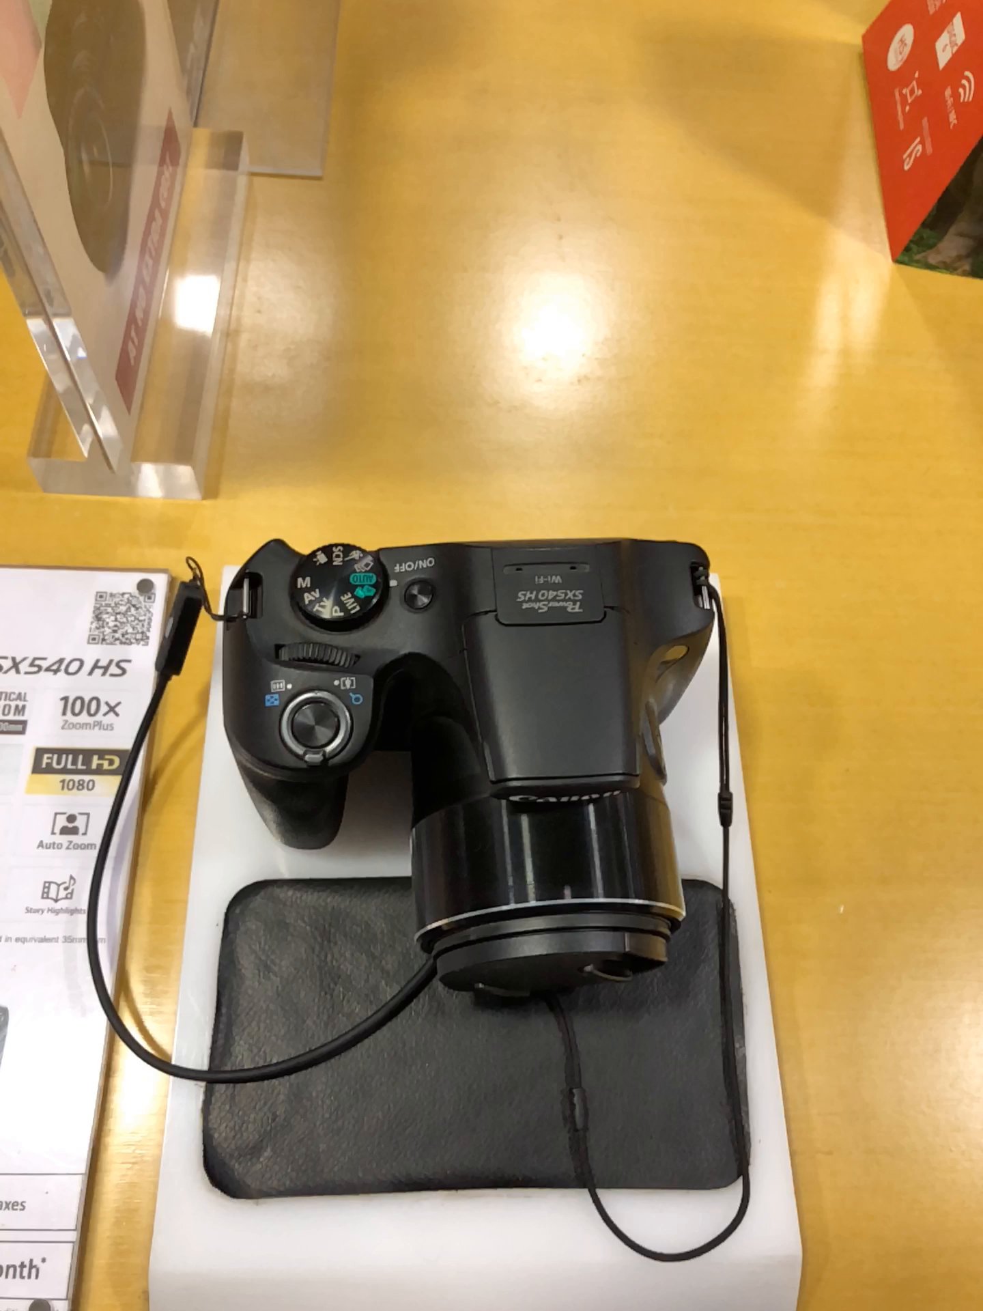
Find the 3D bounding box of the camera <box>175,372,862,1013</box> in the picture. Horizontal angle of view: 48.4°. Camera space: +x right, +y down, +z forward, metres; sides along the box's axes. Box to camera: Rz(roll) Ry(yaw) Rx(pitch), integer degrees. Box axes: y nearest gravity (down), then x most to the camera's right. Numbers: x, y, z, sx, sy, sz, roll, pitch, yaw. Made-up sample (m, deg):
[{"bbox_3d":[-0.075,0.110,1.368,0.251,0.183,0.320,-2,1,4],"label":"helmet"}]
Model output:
[{"bbox_3d":[-0.002,0.011,0.273,0.130,0.090,0.130,-2,65,-7],"label":"camera"}]
